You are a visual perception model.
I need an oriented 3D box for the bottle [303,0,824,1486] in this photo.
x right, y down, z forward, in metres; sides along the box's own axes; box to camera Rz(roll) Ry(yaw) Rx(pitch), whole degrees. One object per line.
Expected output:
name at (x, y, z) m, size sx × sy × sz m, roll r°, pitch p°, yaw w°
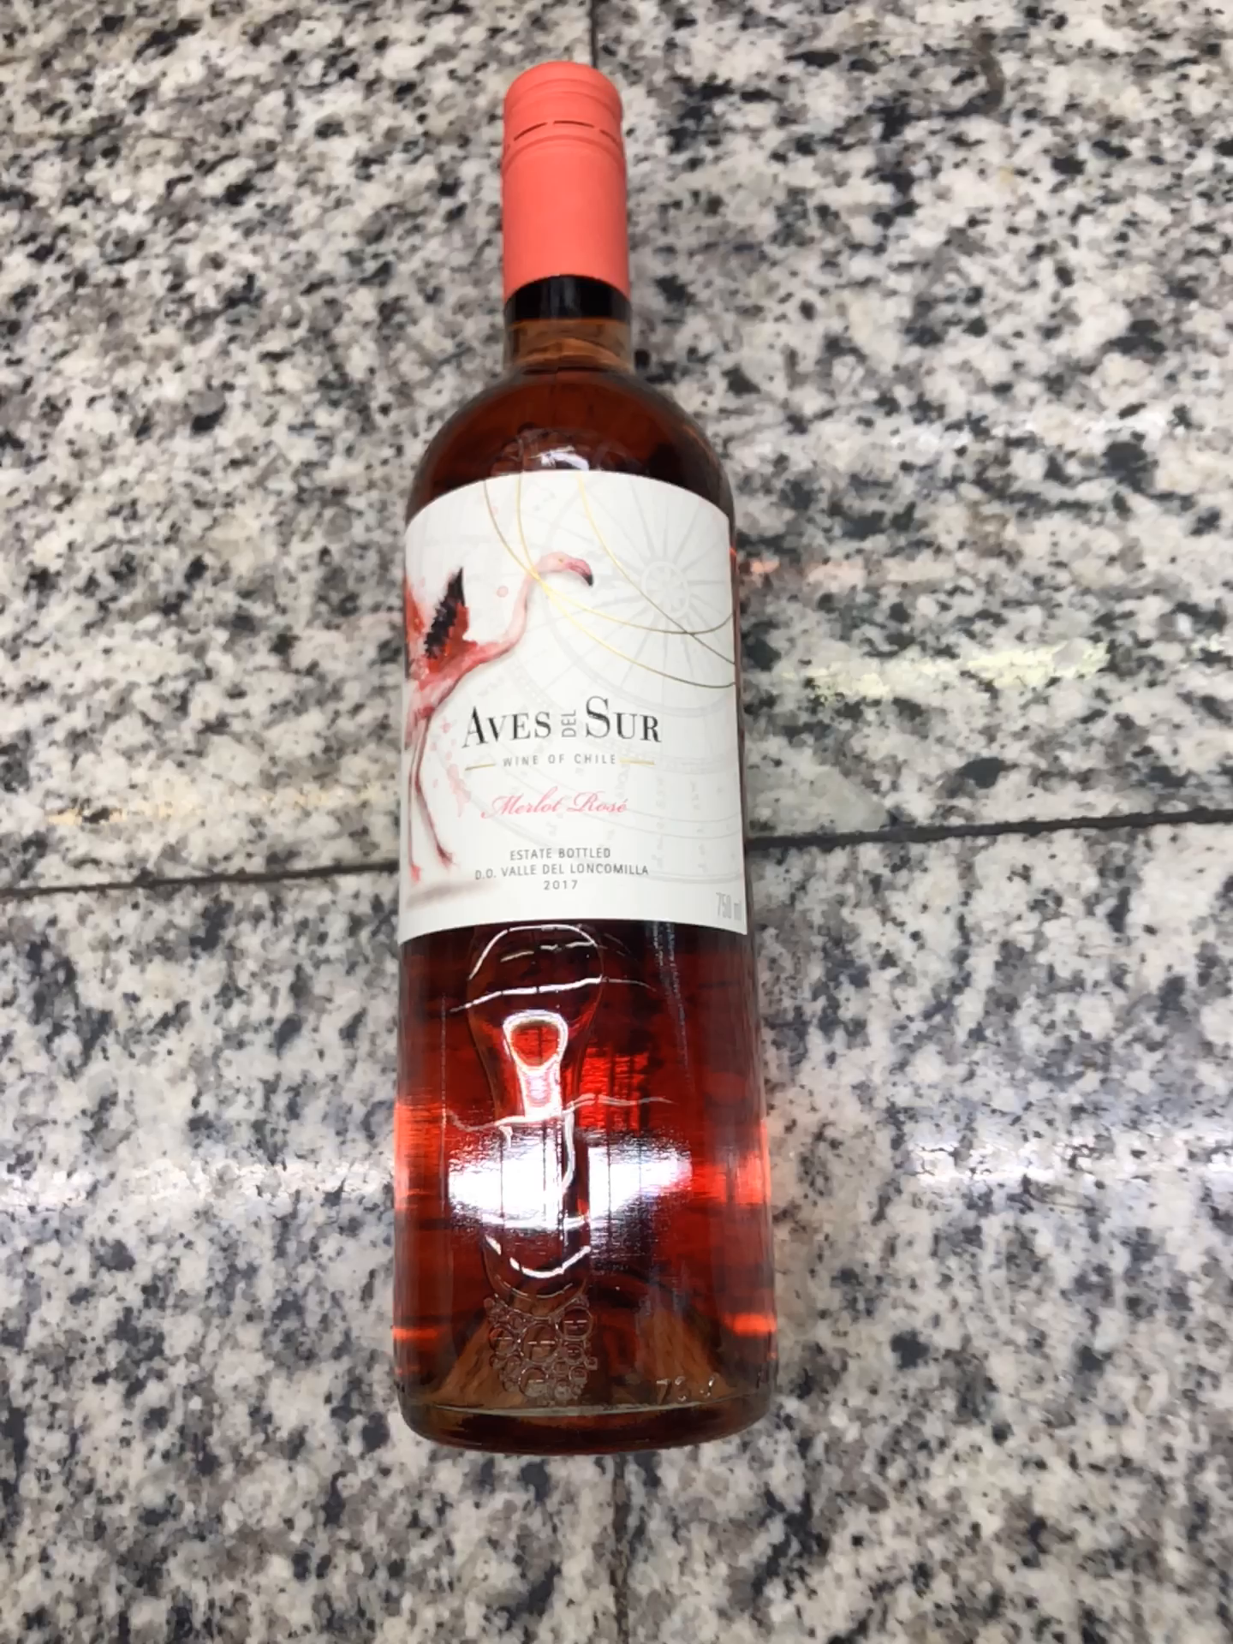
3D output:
bottle at (-0.013, -0.039, 0.320) m, size 0.090 × 0.070 × 0.341 m, roll -5°, pitch 74°, yaw 10°
